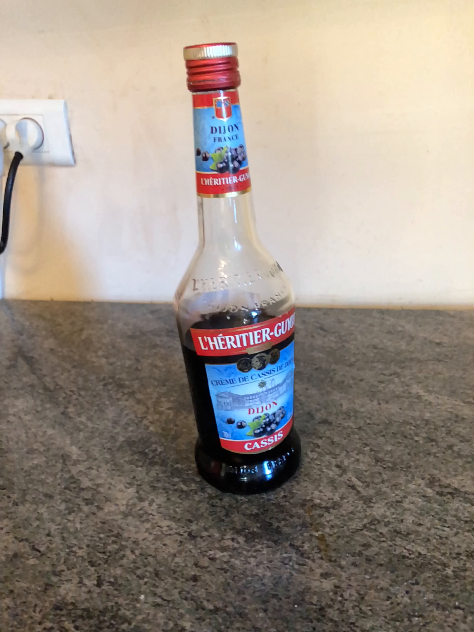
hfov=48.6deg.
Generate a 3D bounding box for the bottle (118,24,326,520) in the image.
[{"bbox_3d":[-0.003,-0.021,0.356,0.090,0.298,0.090,-4,24,2],"label":"bottle"}]
